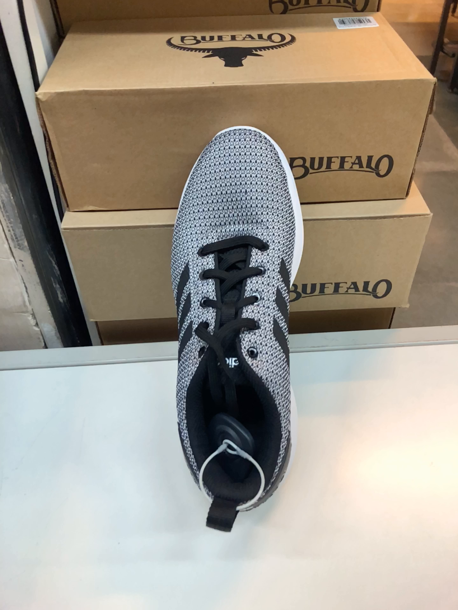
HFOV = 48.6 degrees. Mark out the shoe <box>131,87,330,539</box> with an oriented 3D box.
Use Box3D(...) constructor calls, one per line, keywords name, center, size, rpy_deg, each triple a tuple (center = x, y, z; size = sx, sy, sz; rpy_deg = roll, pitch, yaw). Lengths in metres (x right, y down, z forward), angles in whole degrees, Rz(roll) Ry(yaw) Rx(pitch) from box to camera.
Box3D(name="shoe", center=(0.003, 0.003, 0.362), size=(0.112, 0.098, 0.283), rpy_deg=(-2, 77, 5))
